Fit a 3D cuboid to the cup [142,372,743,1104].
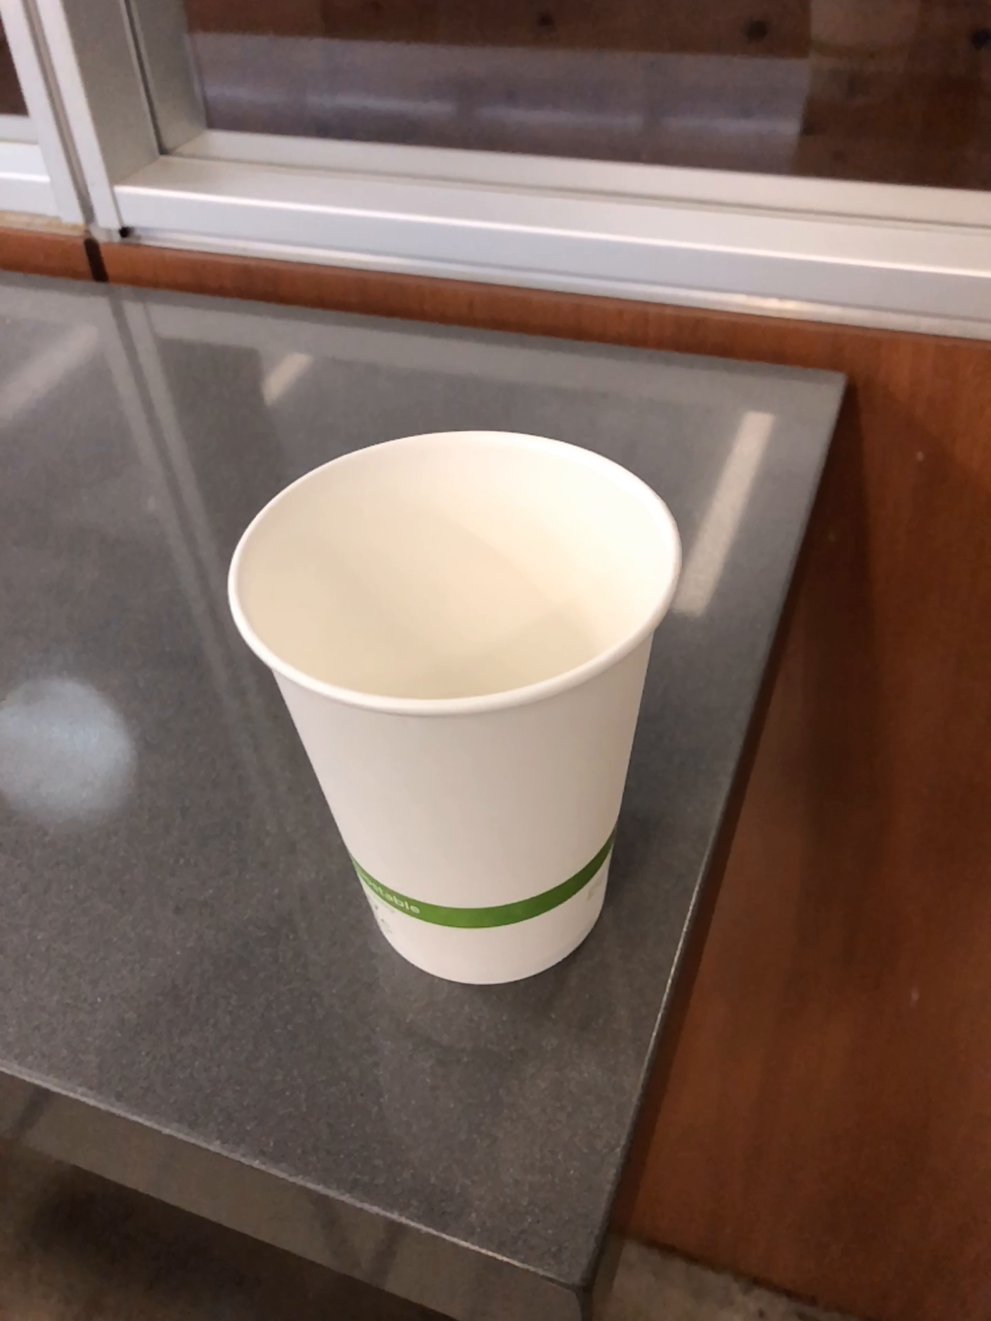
[{"bbox_3d":[-0.011,0.017,0.250,0.090,0.120,0.080,-19,44,-17],"label":"cup"}]
